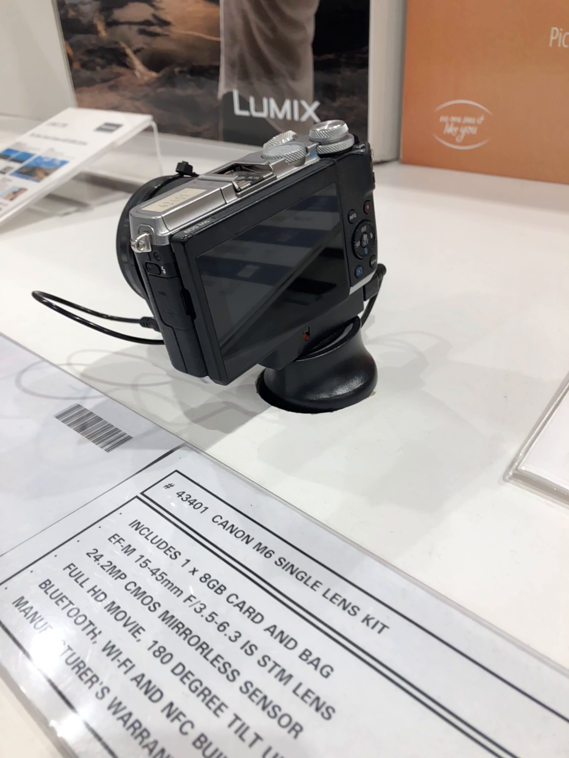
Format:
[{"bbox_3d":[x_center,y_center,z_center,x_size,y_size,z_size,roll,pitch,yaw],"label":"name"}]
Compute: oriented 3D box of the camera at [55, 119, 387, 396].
[{"bbox_3d":[-0.022,-0.061,0.276,0.083,0.075,0.102,20,43,39],"label":"camera"}]
